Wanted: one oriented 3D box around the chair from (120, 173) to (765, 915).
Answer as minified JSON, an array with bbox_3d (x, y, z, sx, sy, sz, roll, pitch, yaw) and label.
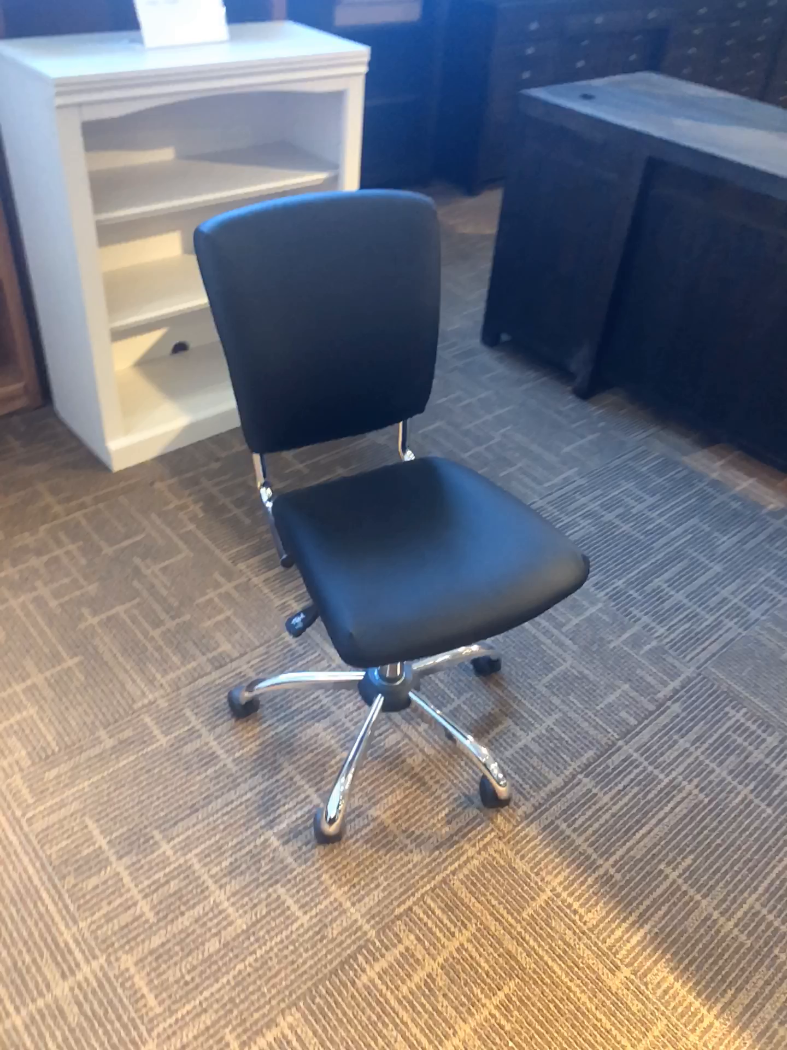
[{"bbox_3d":[0.001,0.003,1.334,0.574,0.826,0.609,-17,44,-25],"label":"chair"}]
